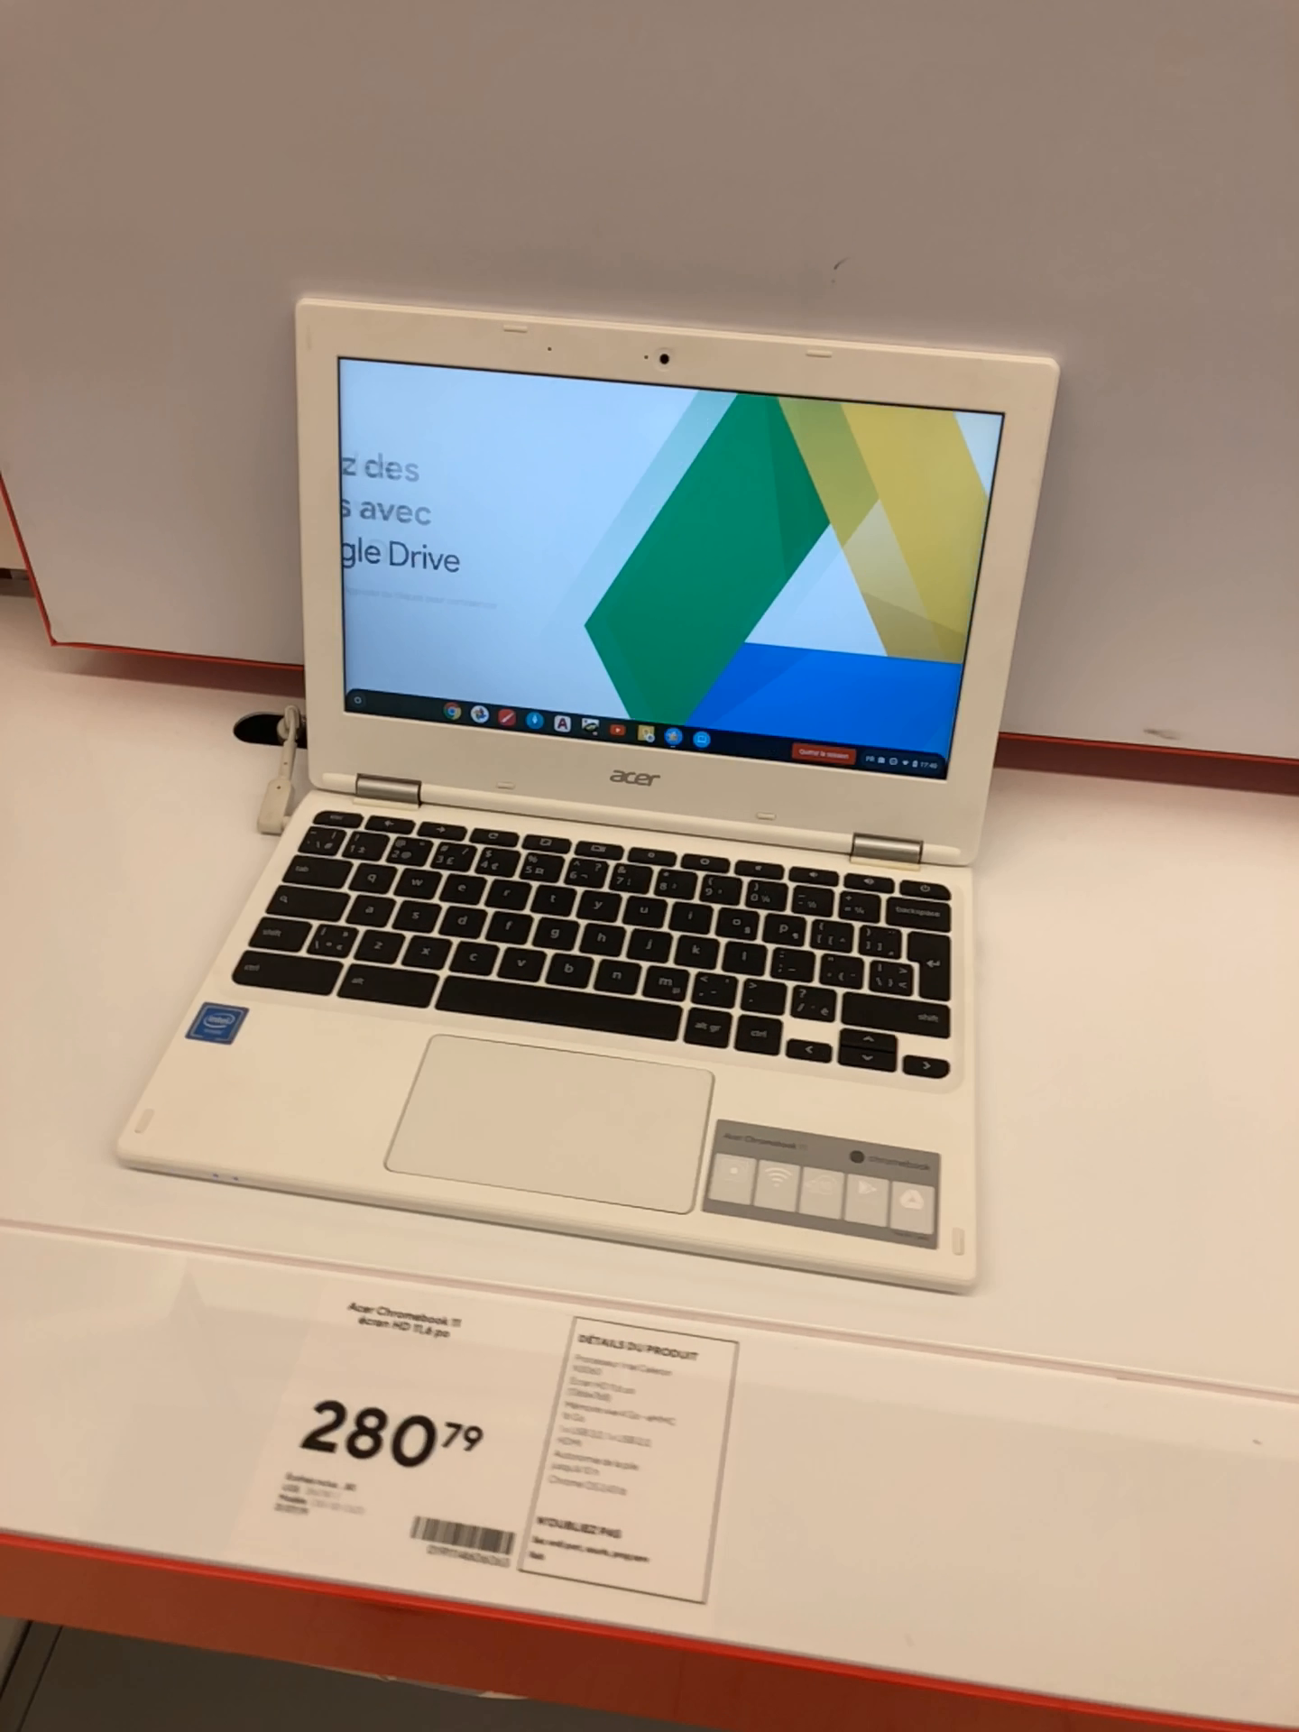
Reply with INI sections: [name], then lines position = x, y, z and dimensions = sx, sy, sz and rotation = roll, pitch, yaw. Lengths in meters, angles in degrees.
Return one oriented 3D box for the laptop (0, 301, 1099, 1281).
[laptop]
position = -0.018, -0.042, 0.495
dimensions = 0.282, 0.188, 0.260
rotation = 7, 43, 7
